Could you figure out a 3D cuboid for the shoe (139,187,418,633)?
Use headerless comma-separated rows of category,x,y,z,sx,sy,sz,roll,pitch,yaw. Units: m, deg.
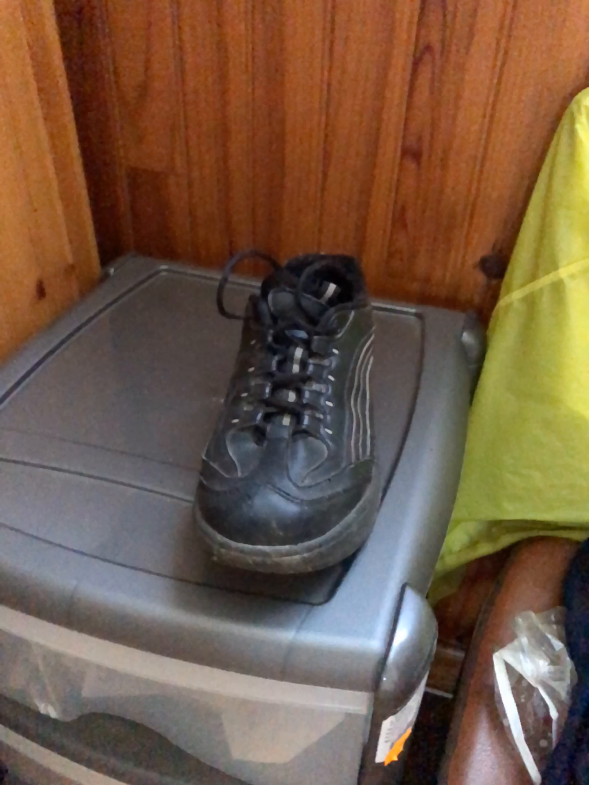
shoe,0.011,-0.015,0.409,0.110,0.129,0.272,7,37,7
